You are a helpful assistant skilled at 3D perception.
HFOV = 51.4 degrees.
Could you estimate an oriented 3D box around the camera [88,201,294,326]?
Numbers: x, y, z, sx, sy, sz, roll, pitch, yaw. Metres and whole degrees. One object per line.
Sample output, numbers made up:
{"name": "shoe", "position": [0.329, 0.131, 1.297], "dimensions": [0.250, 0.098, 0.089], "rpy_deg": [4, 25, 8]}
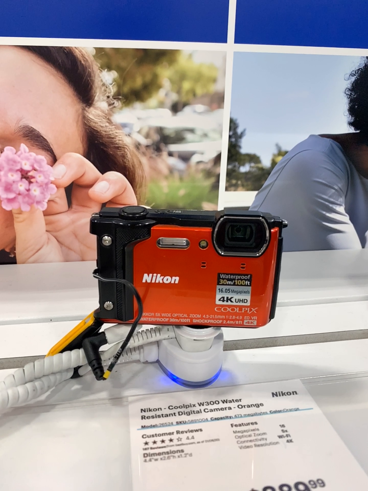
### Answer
{"name": "camera", "position": [0.002, 0.010, 0.215], "dimensions": [0.105, 0.063, 0.025], "rpy_deg": [2, 18, -3]}
